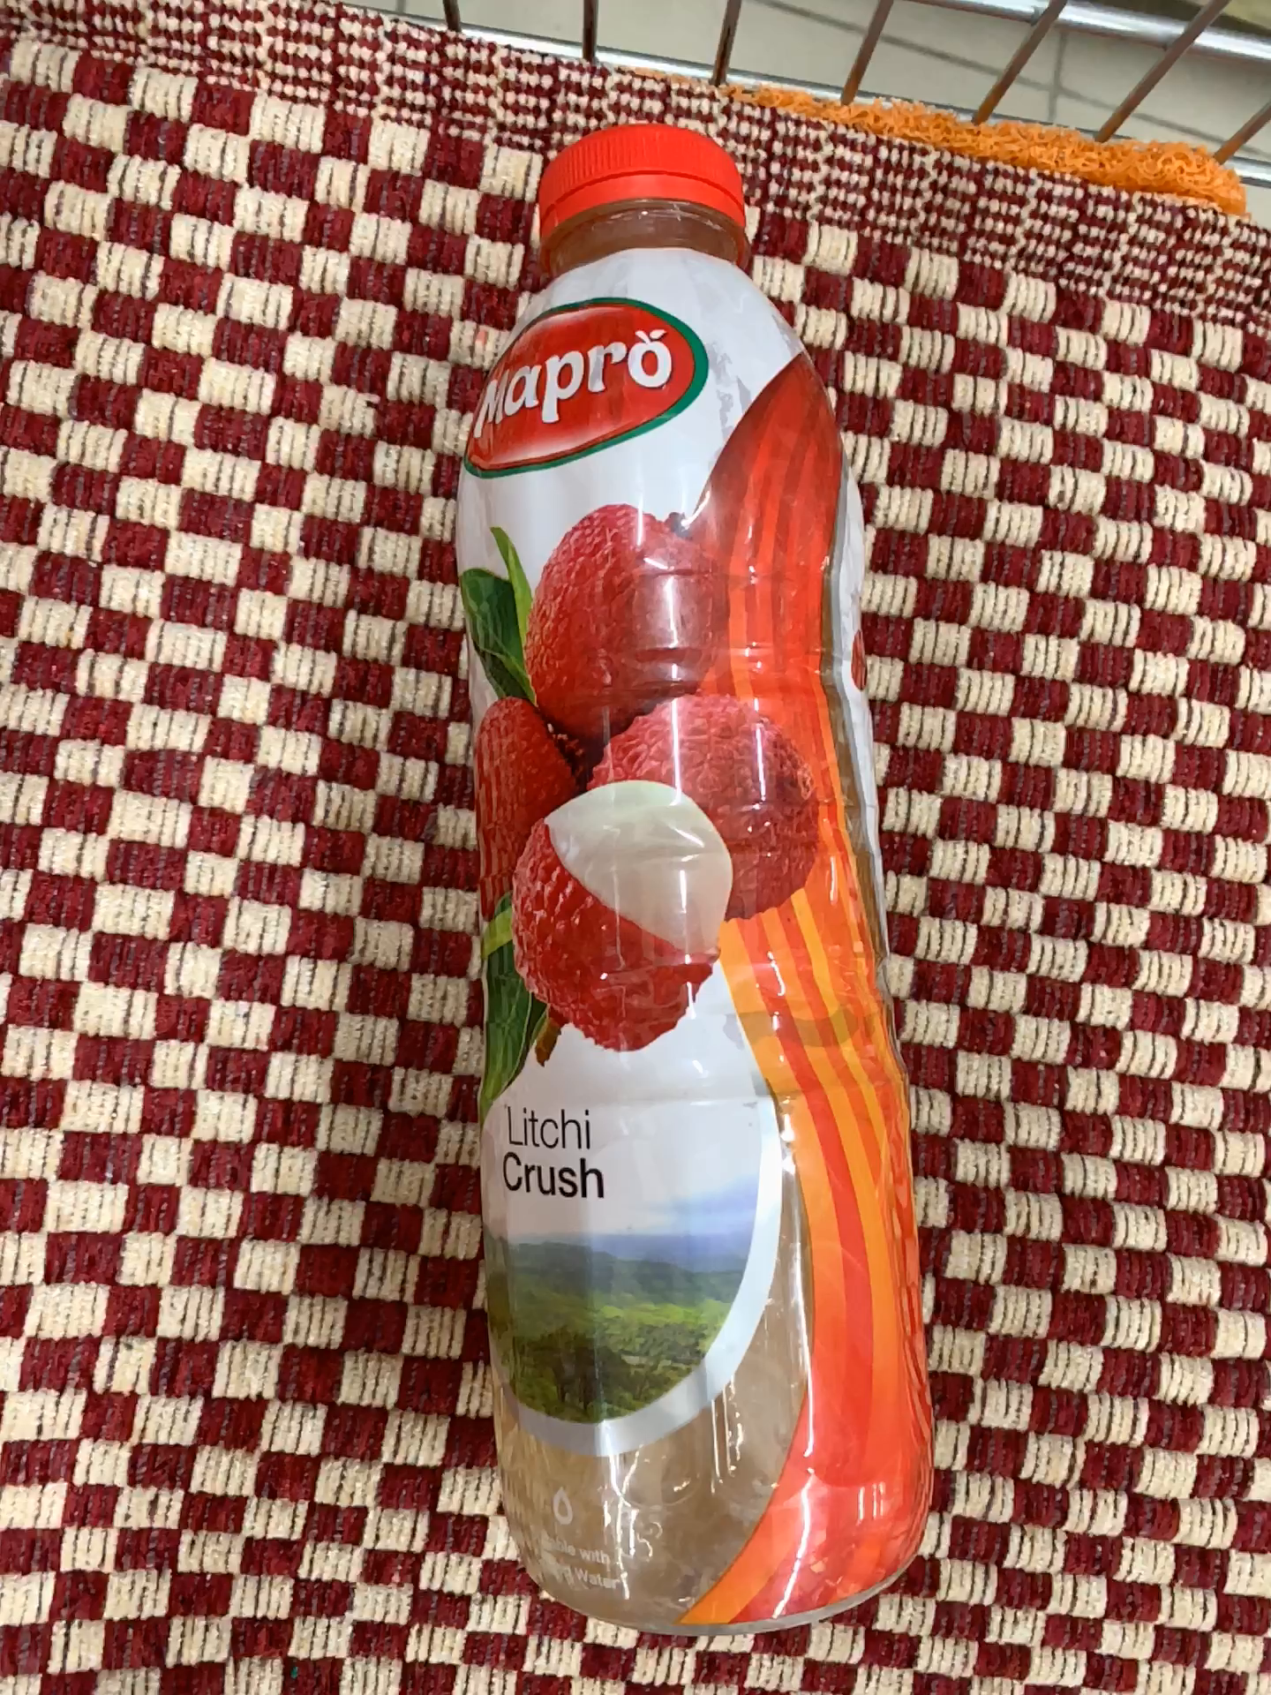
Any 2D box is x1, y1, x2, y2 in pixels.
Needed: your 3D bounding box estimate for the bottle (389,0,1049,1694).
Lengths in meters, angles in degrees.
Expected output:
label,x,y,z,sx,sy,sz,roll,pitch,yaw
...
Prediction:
label,x,y,z,sx,sy,sz,roll,pitch,yaw
bottle,0.015,-0.002,0.223,0.080,0.070,0.240,0,88,-50
